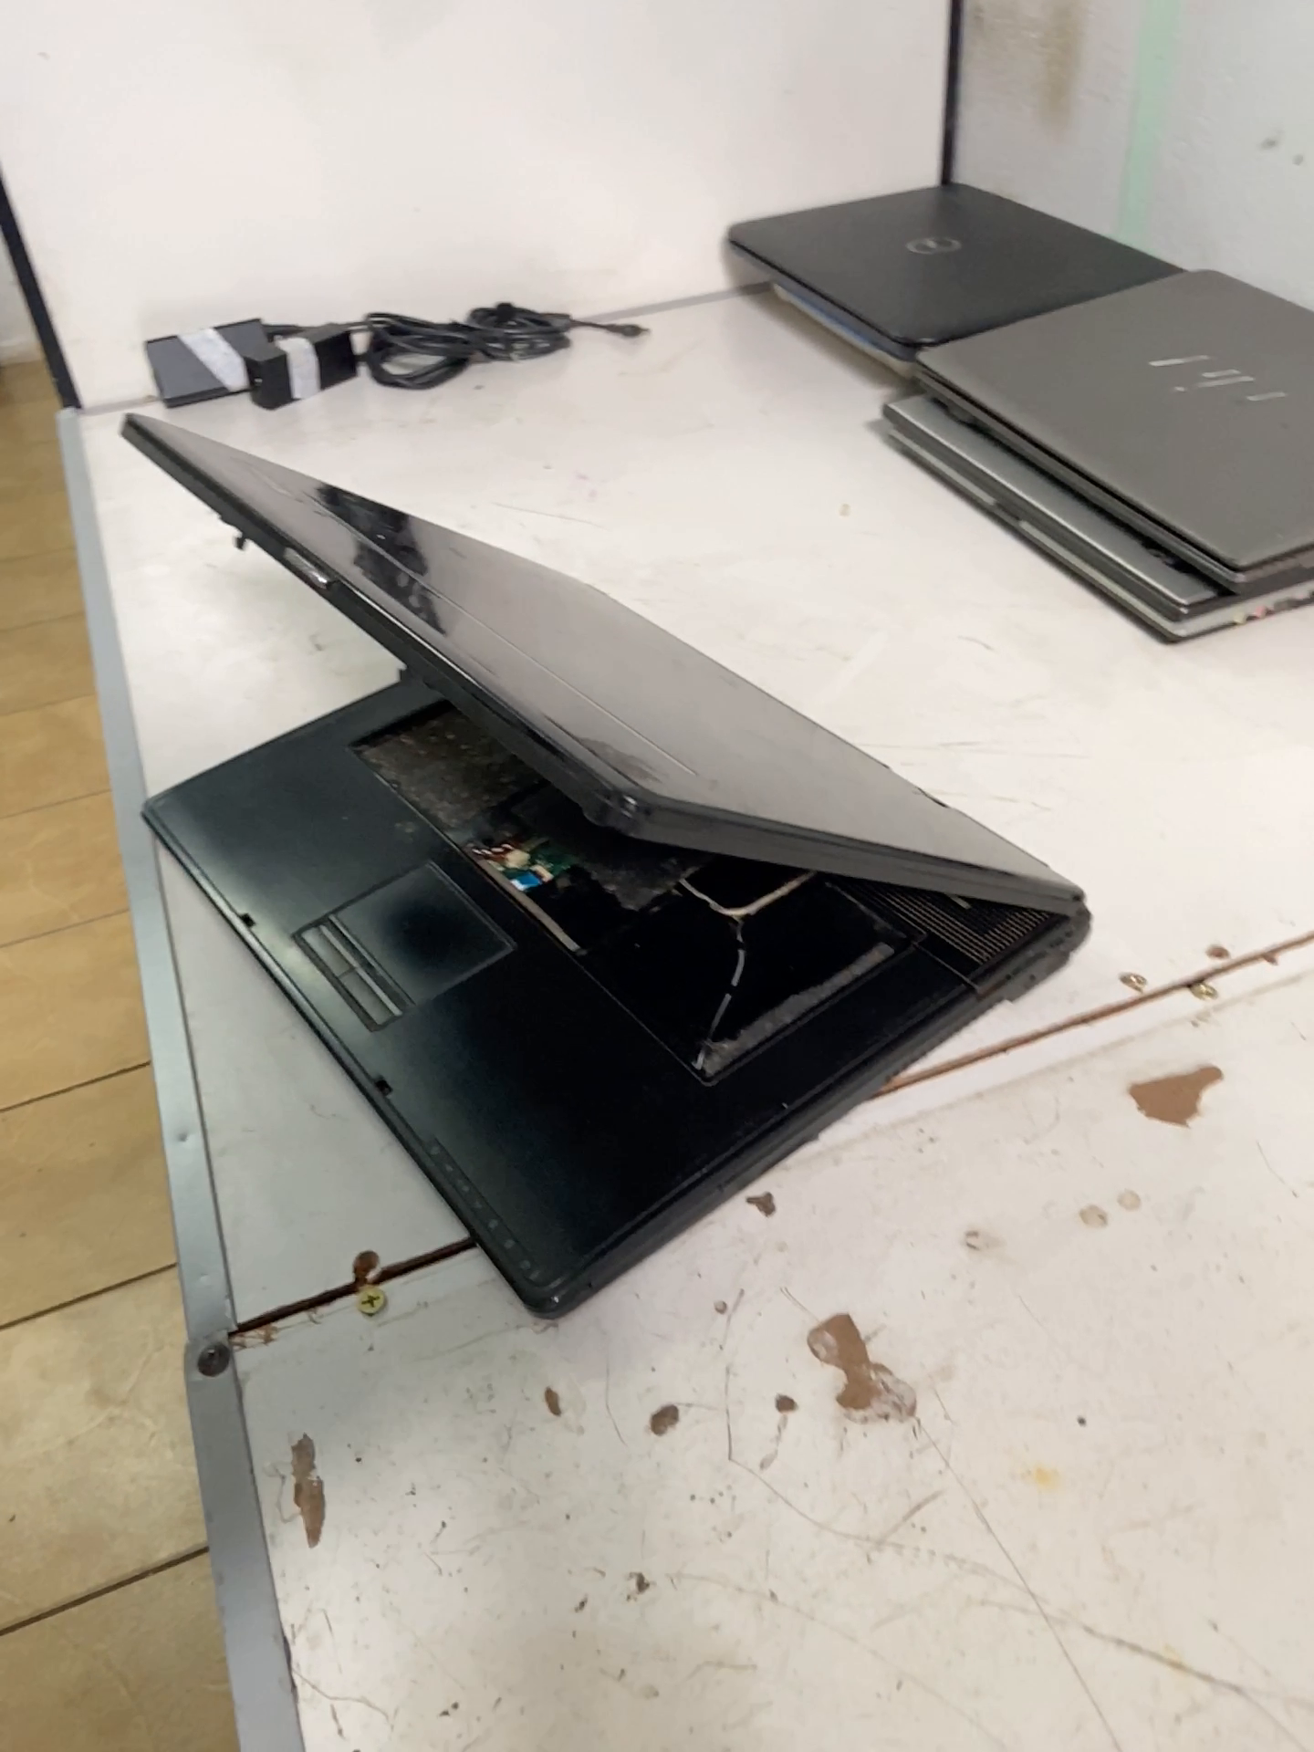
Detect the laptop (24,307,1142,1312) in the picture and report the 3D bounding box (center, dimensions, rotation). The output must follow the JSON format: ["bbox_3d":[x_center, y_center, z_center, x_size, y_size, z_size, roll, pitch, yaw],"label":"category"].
[{"bbox_3d":[-0.046,-0.069,0.543,0.260,0.164,0.349,-30,46,-24],"label":"laptop"}]
